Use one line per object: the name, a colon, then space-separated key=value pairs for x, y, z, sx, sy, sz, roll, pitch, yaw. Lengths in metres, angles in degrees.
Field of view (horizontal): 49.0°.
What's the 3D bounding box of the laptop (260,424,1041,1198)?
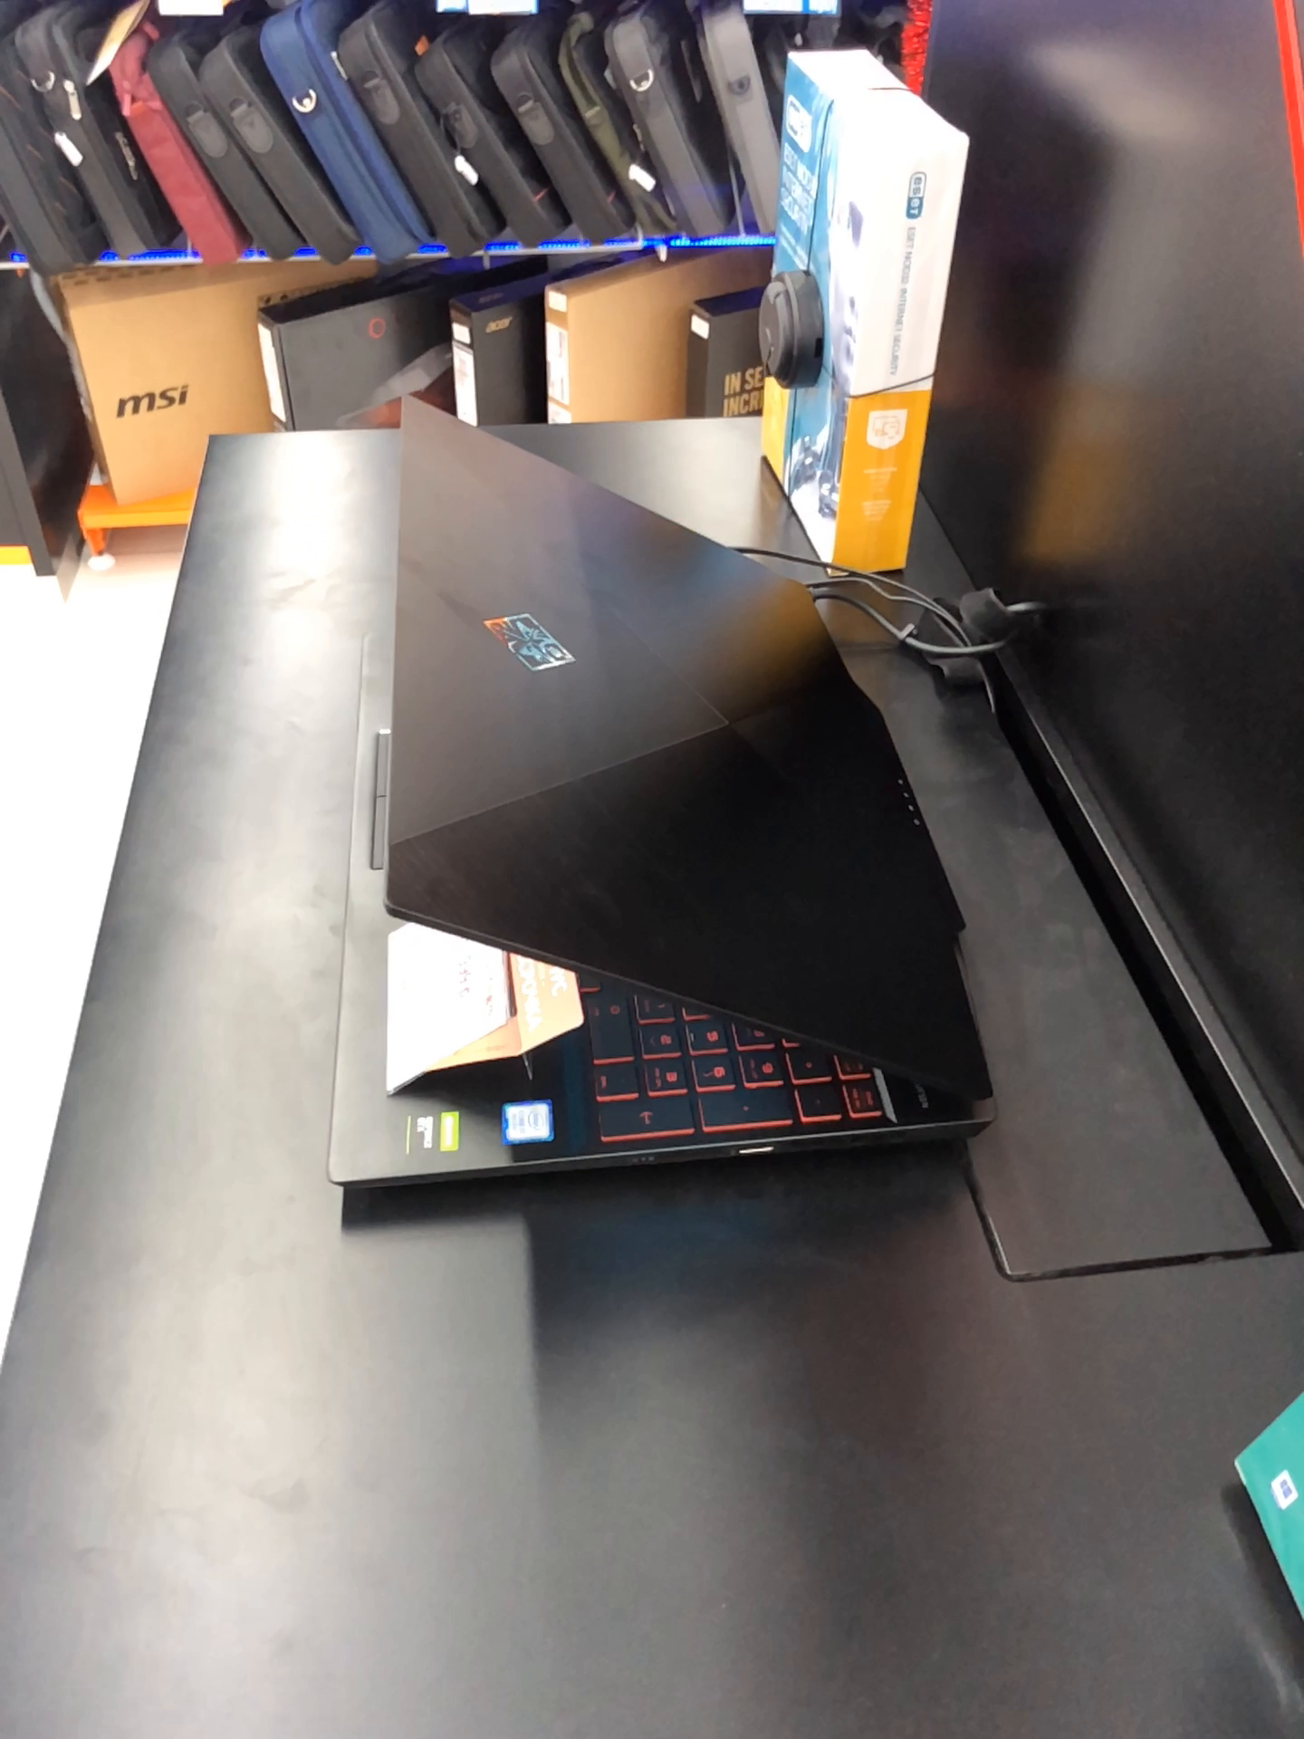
laptop: x=-0.009 y=-0.052 z=0.596 sx=0.230 sy=0.121 sz=0.352 roll=-3 pitch=40 yaw=-2
